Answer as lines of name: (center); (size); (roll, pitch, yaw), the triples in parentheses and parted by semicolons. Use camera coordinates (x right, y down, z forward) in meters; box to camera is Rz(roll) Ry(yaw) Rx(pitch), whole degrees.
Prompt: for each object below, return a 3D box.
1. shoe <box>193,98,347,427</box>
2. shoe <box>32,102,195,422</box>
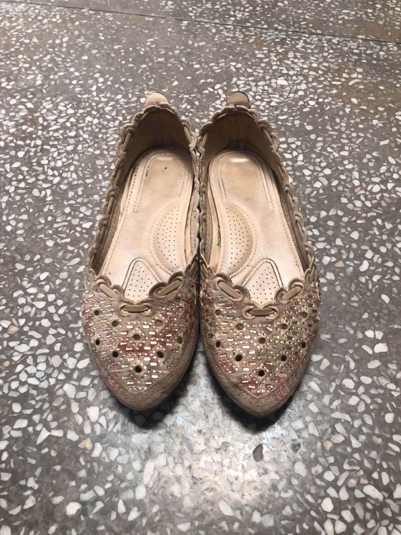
shoe: (0.042, -0.022, 0.345); (0.090, 0.040, 0.270); (0, 60, 1)
shoe: (-0.052, -0.026, 0.355); (0.090, 0.040, 0.281); (0, 56, 1)
